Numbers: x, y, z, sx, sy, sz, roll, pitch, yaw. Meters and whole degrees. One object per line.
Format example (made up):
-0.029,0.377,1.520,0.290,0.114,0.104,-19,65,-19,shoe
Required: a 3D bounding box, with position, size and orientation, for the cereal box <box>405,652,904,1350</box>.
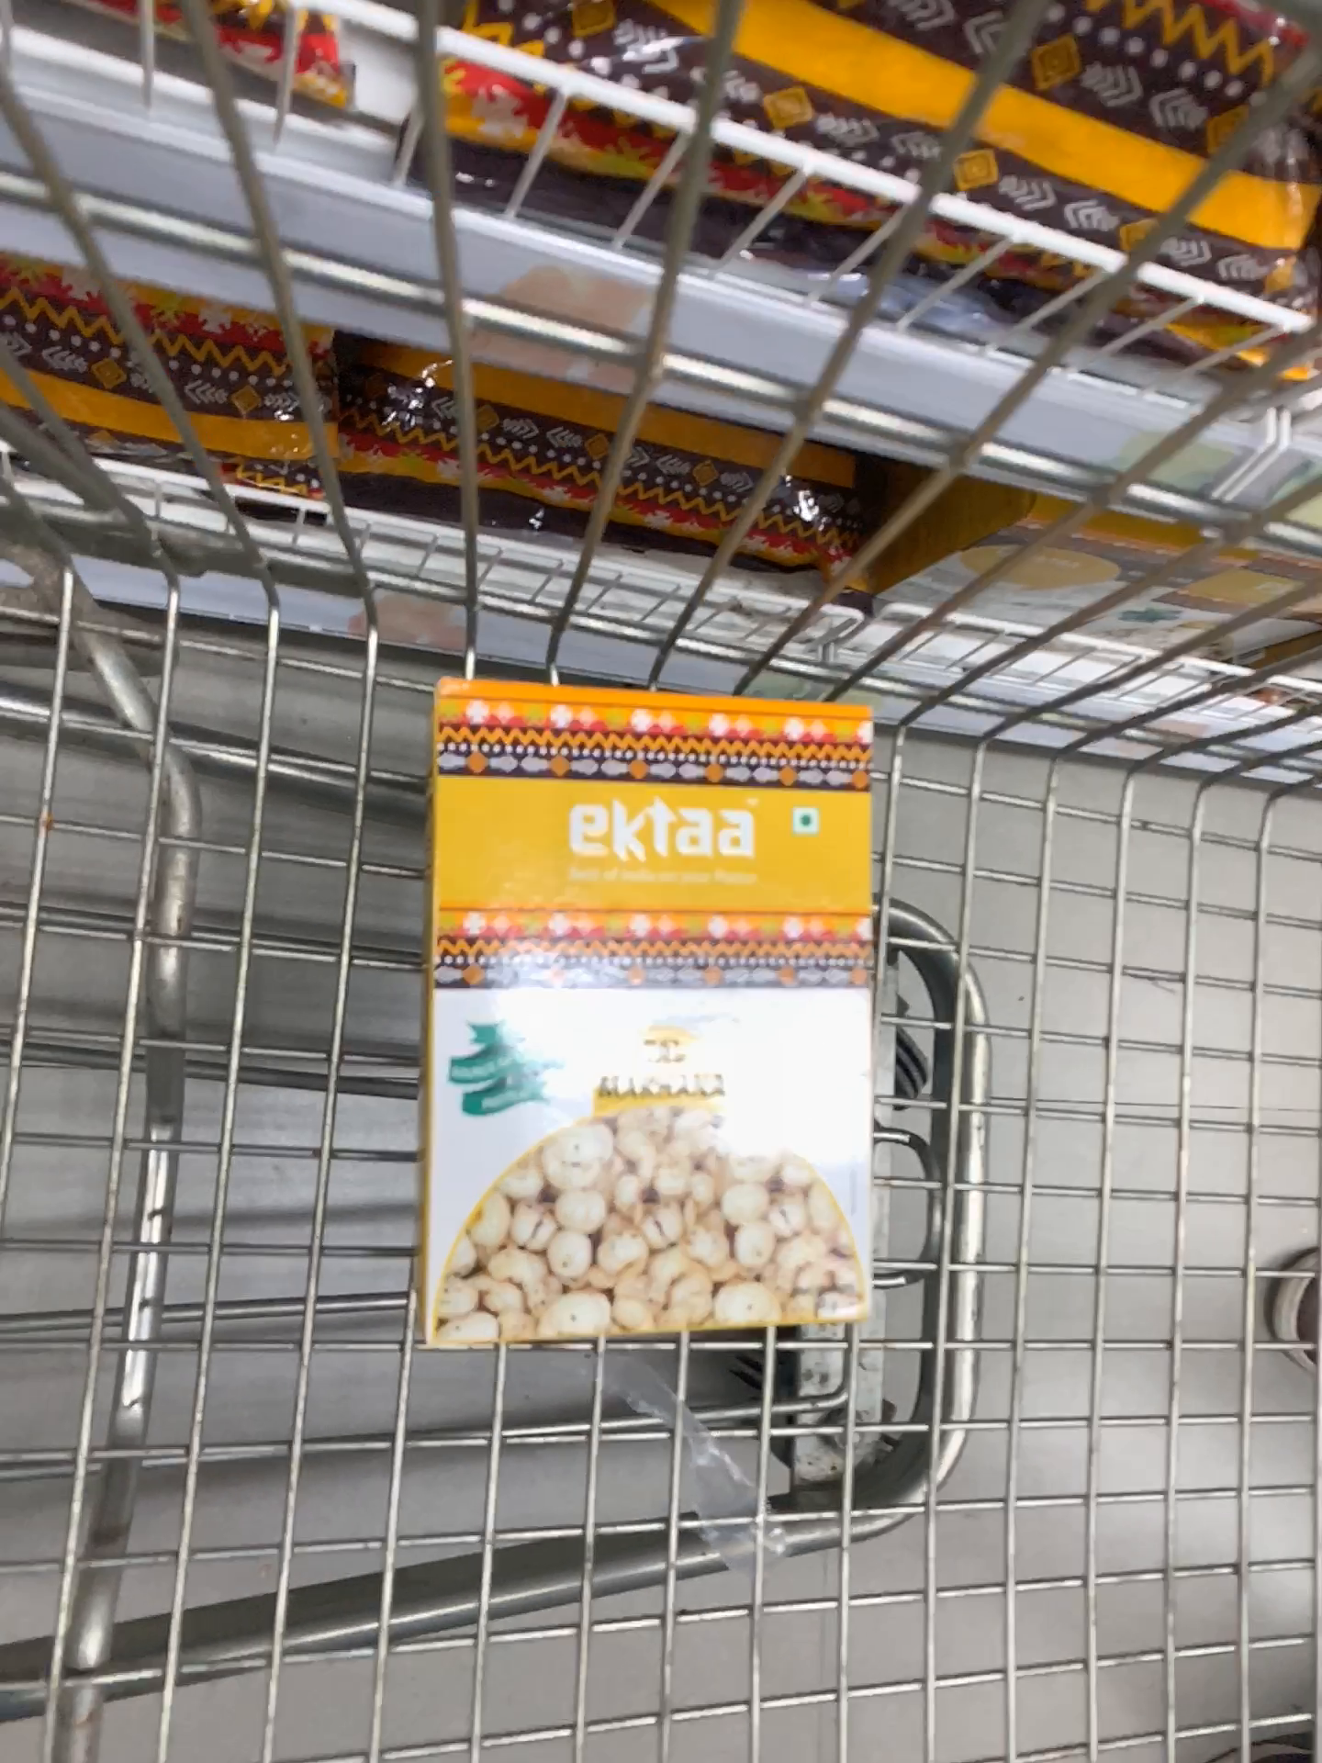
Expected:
-0.005,0.033,0.396,0.130,0.070,0.180,2,89,-13,cereal box
